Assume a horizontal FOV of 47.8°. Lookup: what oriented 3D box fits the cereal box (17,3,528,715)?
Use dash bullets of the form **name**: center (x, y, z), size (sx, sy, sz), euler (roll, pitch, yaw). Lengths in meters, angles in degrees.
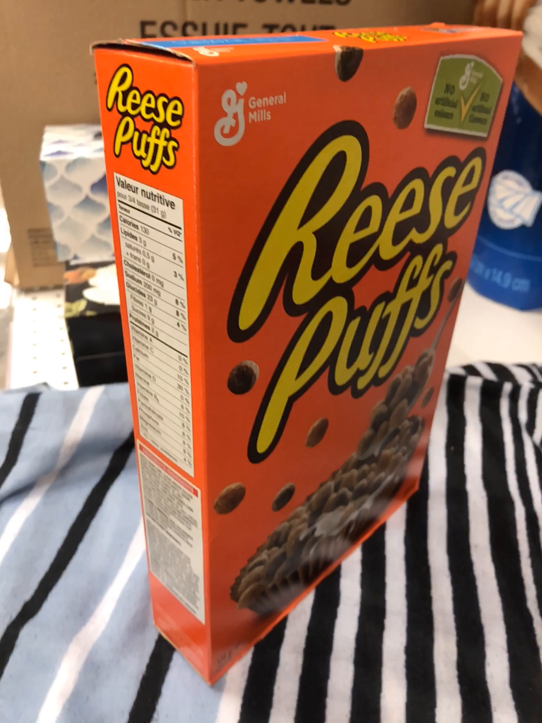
- **cereal box**: center (0.020, -0.005, 0.277), size (0.040, 0.269, 0.210), euler (27, 40, 35)
